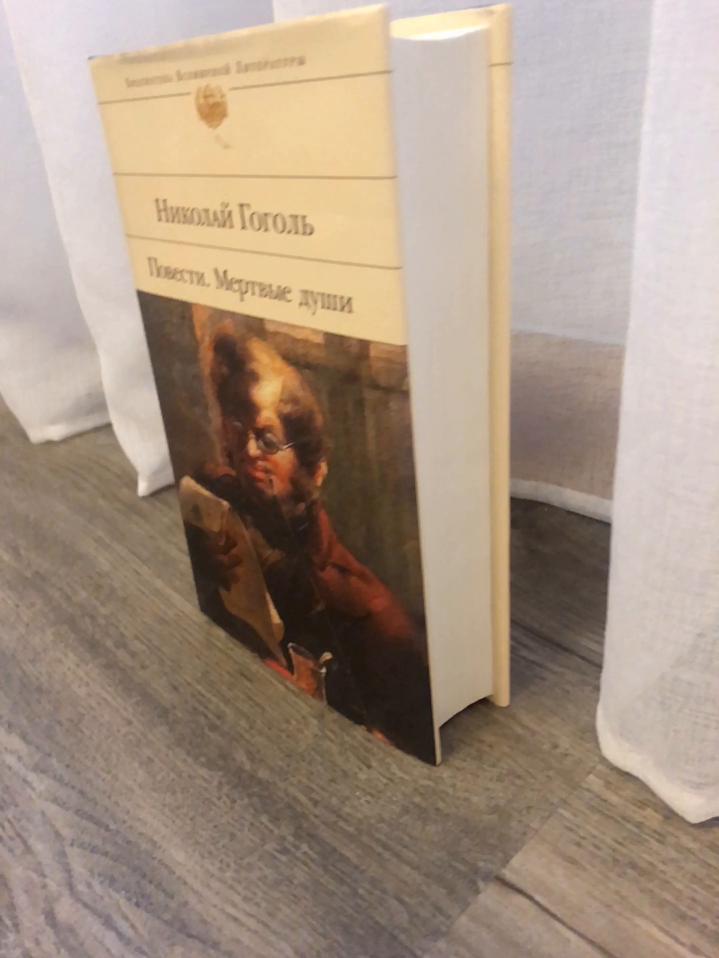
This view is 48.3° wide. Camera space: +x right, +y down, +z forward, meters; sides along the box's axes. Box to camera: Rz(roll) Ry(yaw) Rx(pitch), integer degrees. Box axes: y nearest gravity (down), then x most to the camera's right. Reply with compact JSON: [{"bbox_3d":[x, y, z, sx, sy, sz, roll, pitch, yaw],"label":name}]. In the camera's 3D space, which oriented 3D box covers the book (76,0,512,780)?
[{"bbox_3d":[-0.018,-0.026,0.259,0.041,0.209,0.134,-26,32,-37],"label":"book"}]
